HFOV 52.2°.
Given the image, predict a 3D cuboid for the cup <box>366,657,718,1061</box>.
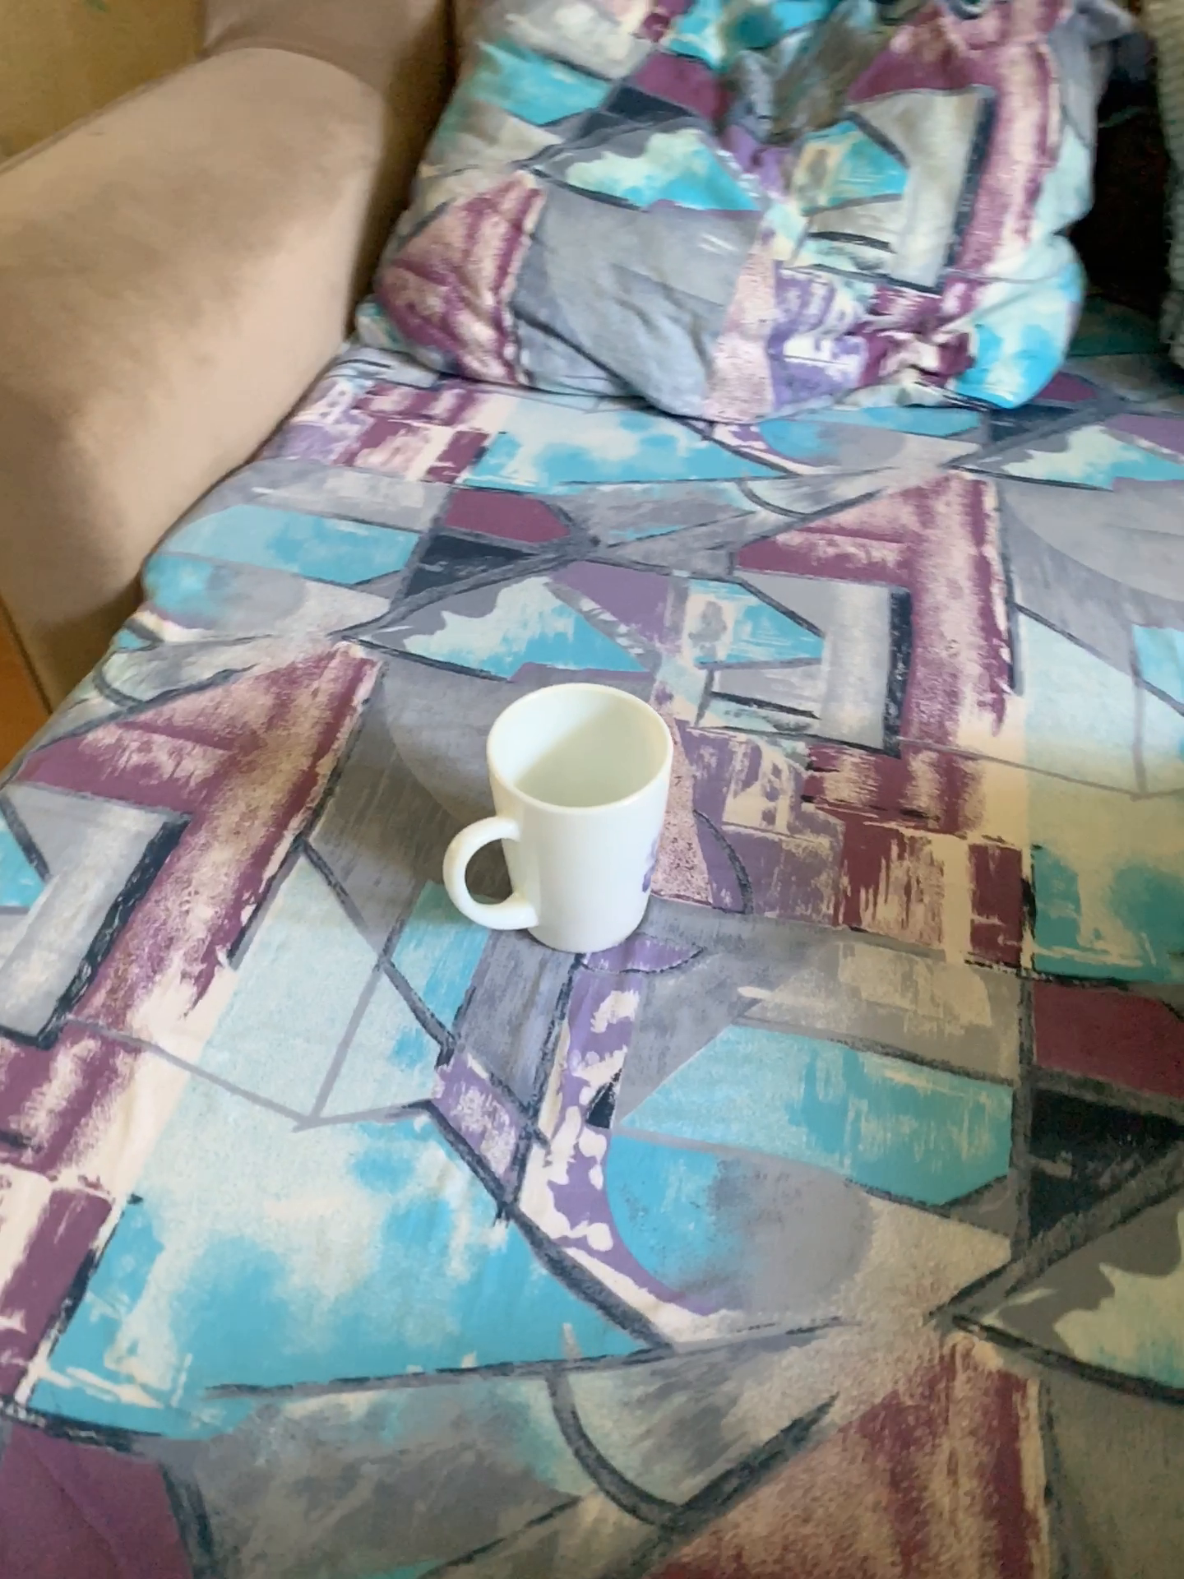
[{"bbox_3d":[-0.018,0.027,0.518,0.080,0.099,0.121,33,53,29],"label":"cup"}]
